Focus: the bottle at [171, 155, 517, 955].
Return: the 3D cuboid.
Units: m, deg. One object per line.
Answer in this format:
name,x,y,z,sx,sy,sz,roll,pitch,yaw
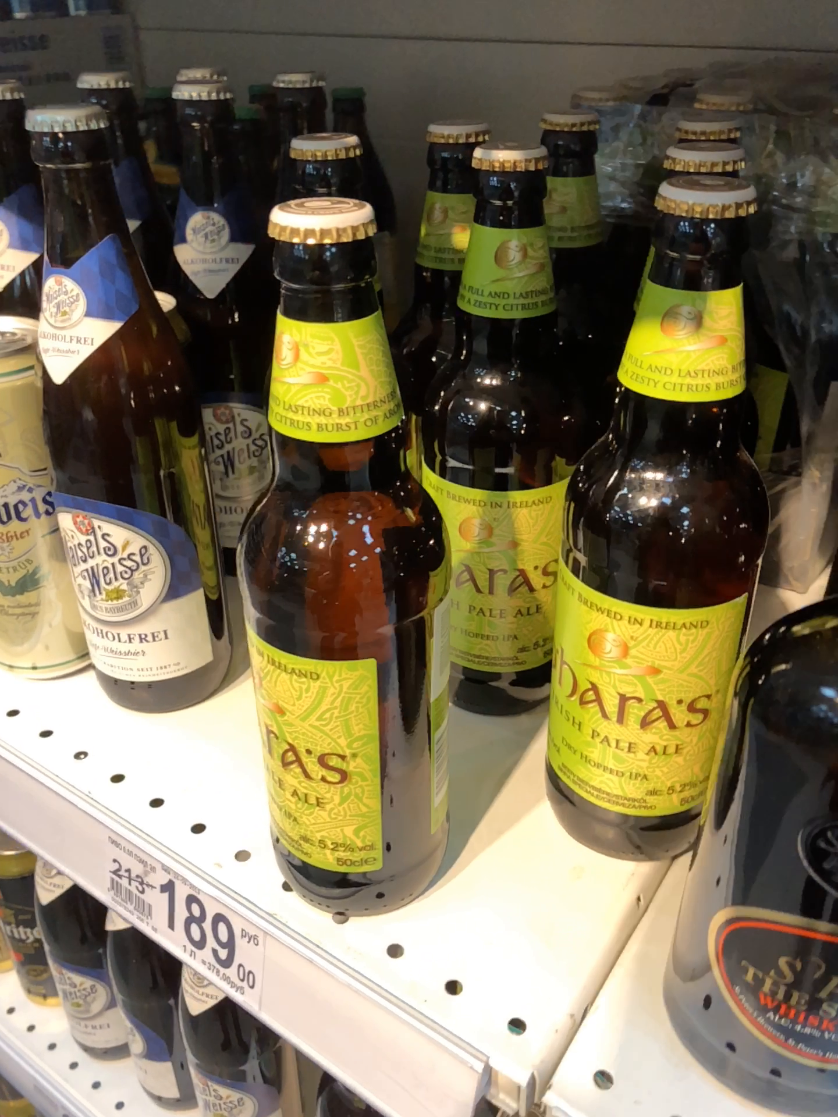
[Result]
bottle,-0.022,0.010,0.304,0.070,0.250,0.070,0,31,0
